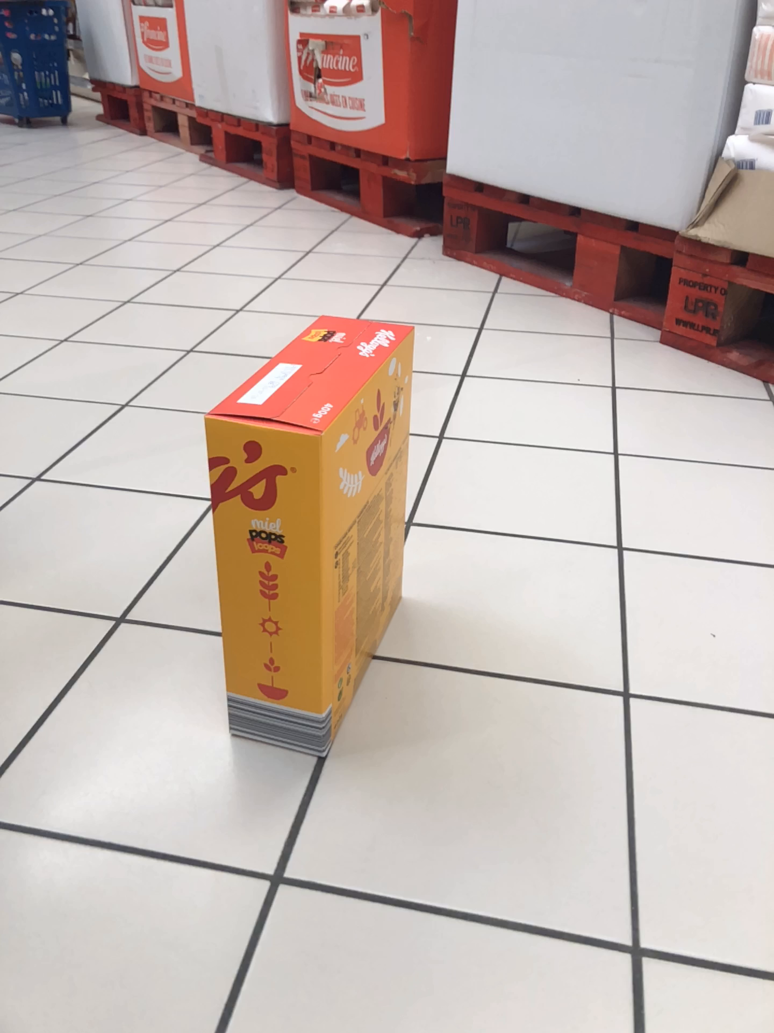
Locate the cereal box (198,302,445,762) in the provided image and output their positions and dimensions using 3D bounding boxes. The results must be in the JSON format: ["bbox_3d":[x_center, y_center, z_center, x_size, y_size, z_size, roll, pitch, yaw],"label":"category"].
[{"bbox_3d":[-0.031,0.002,0.579,0.090,0.239,0.191,9,31,14],"label":"cereal box"}]
